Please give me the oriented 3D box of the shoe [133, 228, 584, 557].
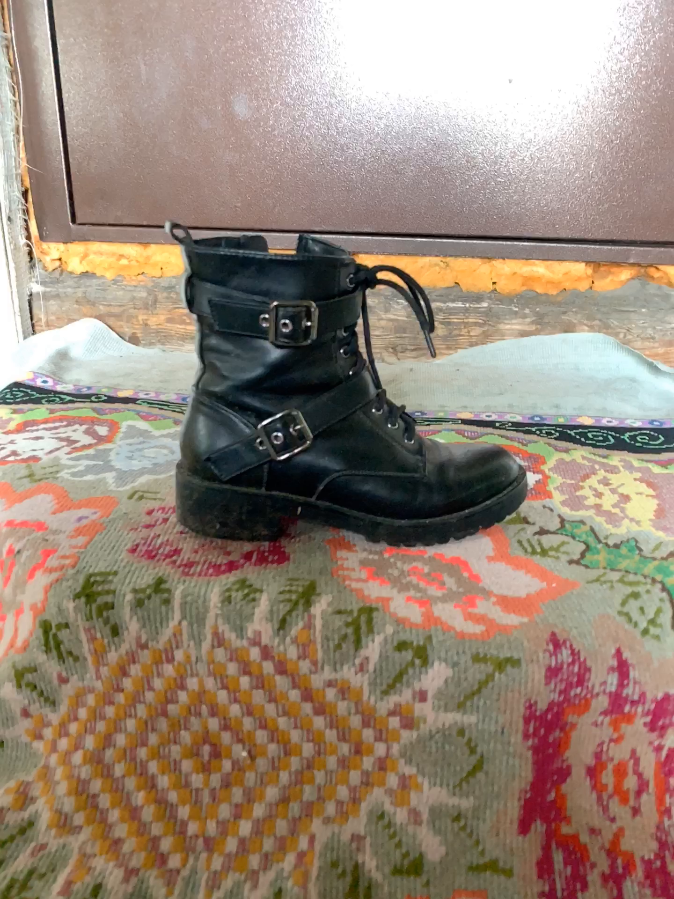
[{"bbox_3d":[0.010,-0.038,0.439,0.240,0.189,0.091,0,20,-2],"label":"shoe"}]
